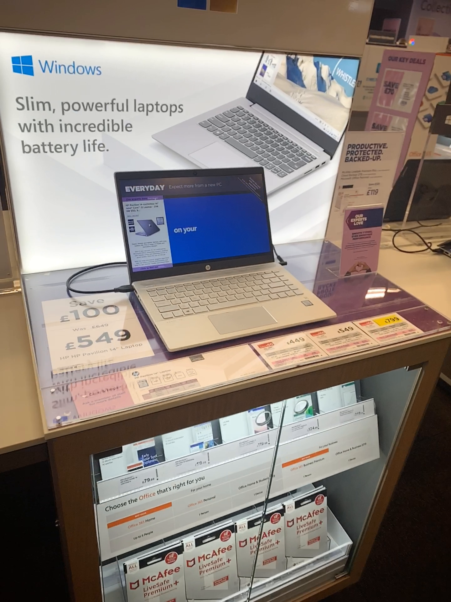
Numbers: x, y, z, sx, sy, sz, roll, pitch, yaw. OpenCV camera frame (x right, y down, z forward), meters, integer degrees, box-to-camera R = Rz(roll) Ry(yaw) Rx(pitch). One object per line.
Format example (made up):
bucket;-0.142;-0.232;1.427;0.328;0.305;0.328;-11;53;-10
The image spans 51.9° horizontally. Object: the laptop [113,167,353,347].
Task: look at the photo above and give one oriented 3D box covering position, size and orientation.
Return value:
laptop;-0.008;-0.109;0.857;0.313;0.171;0.324;-9;34;-24
